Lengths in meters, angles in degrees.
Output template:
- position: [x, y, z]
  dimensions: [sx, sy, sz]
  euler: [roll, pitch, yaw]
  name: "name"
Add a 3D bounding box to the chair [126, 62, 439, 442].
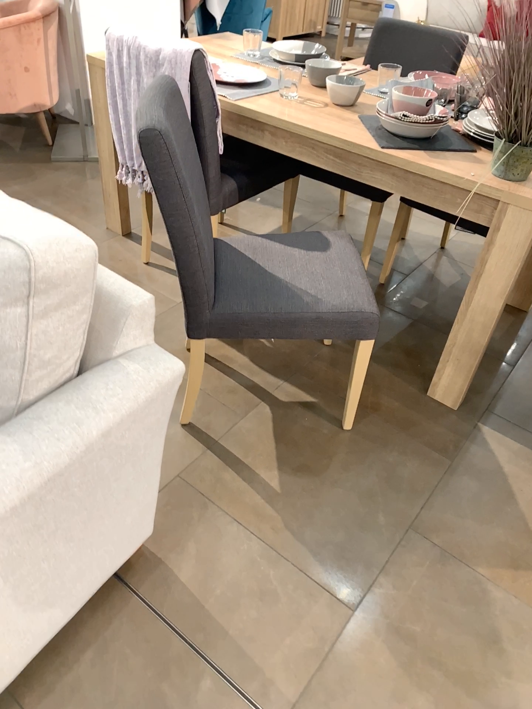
- position: [-0.005, -0.250, 1.530]
  dimensions: [0.614, 0.889, 0.511]
  euler: [2, 40, -5]
  name: "chair"
